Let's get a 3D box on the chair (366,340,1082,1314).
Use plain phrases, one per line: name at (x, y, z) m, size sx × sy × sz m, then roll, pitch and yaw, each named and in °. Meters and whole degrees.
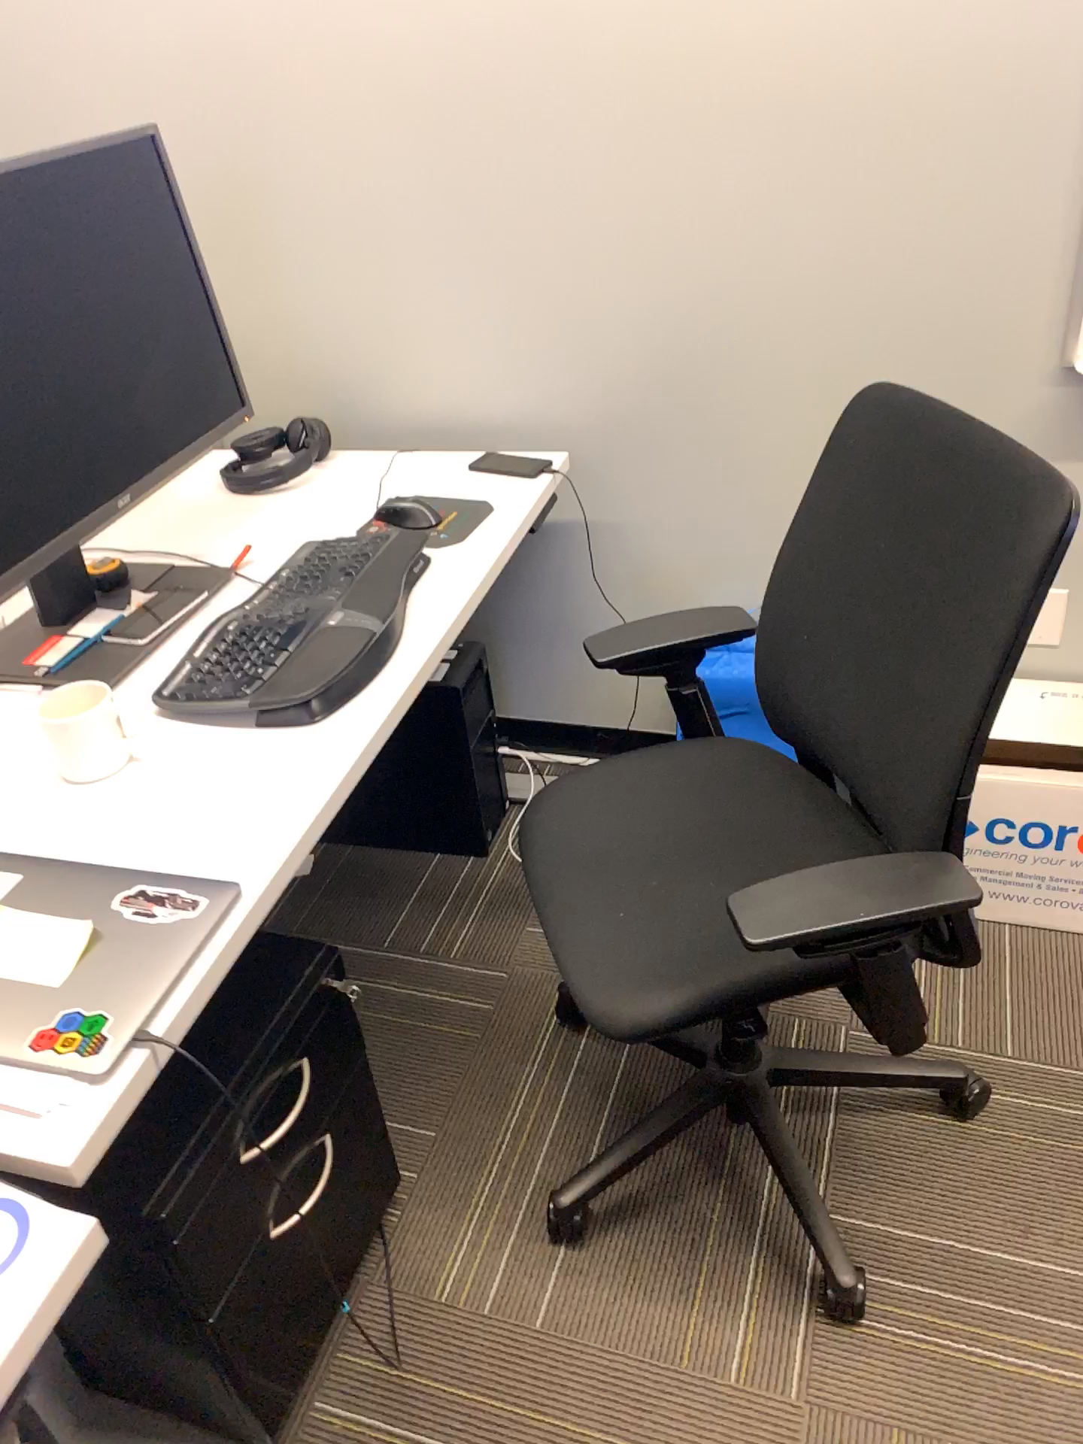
chair at (0.209, 0.085, 1.565) m, size 0.610 × 0.944 × 0.835 m, roll -14°, pitch 34°, yaw -12°
